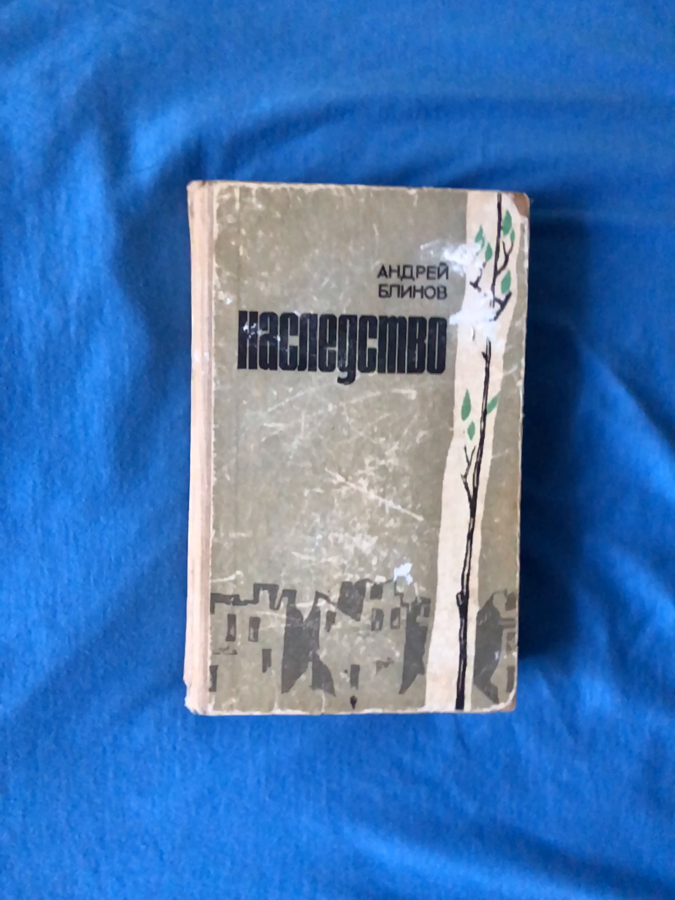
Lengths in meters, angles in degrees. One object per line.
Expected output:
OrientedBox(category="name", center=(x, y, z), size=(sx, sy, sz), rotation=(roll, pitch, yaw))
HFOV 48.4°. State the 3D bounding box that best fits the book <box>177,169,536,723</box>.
OrientedBox(category="book", center=(0.006, 0.000, 0.298), size=(0.130, 0.040, 0.200), rotation=(1, 91, -7))
